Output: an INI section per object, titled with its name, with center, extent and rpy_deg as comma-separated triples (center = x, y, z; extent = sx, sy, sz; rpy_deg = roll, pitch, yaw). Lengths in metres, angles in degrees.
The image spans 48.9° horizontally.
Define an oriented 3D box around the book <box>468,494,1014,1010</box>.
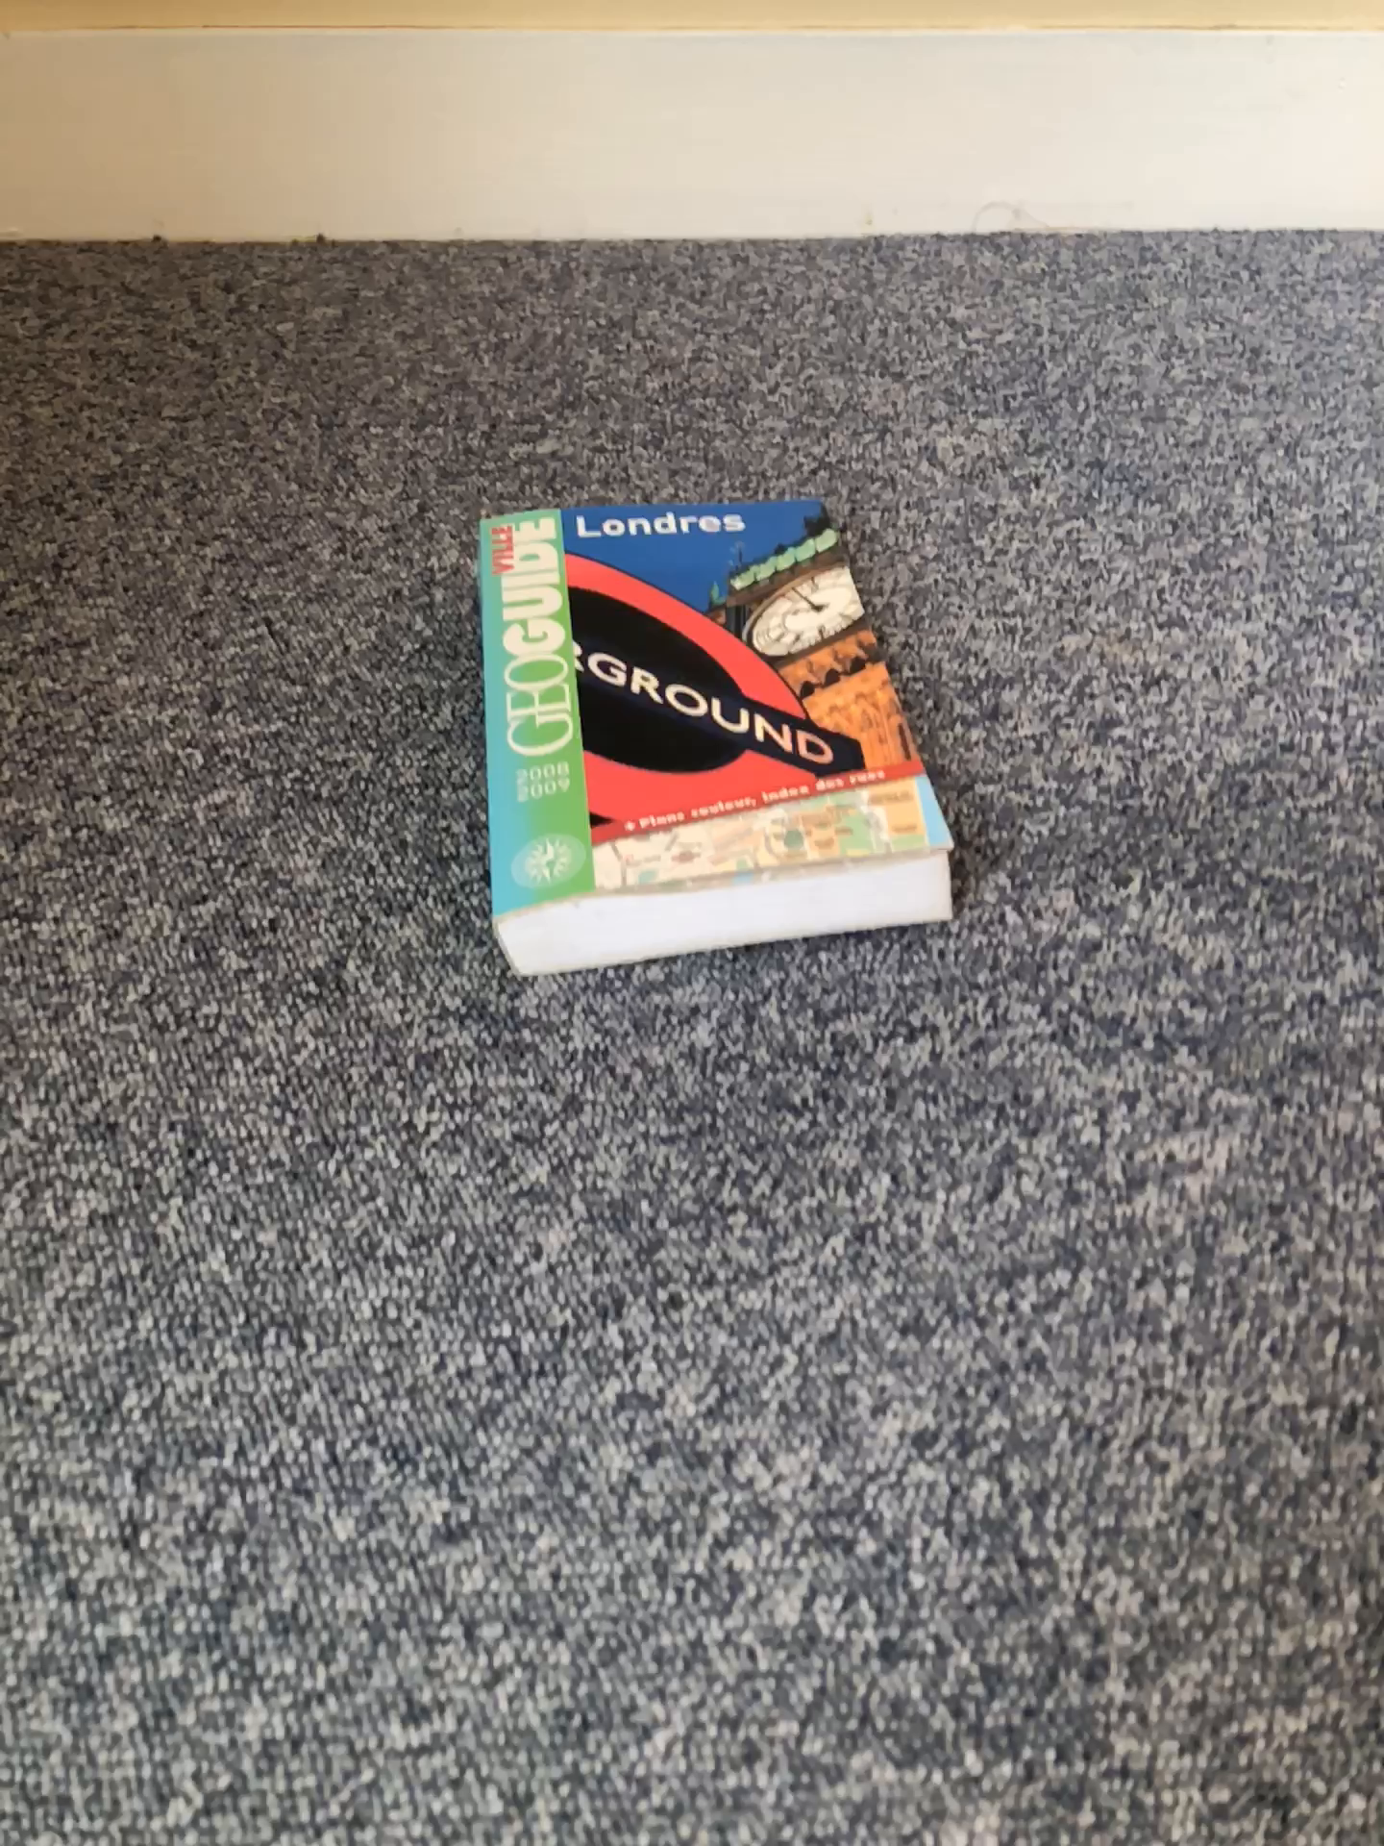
[book]
center = 0.003, -0.063, 0.456
extent = 0.130, 0.030, 0.201
rpy_deg = -5, 44, -6
